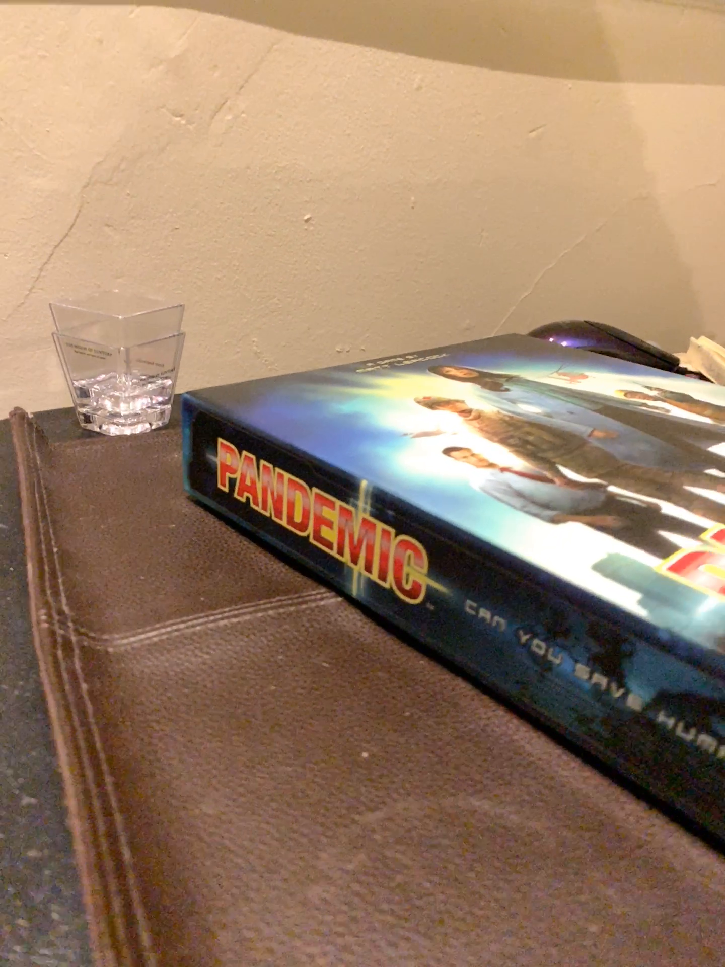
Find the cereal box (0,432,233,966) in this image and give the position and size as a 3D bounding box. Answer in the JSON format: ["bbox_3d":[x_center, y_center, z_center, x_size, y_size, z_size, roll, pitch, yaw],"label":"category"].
[{"bbox_3d":[-0.493,0.523,0.812,0.510,0.994,0.472,8,26,13],"label":"cereal box"}]
